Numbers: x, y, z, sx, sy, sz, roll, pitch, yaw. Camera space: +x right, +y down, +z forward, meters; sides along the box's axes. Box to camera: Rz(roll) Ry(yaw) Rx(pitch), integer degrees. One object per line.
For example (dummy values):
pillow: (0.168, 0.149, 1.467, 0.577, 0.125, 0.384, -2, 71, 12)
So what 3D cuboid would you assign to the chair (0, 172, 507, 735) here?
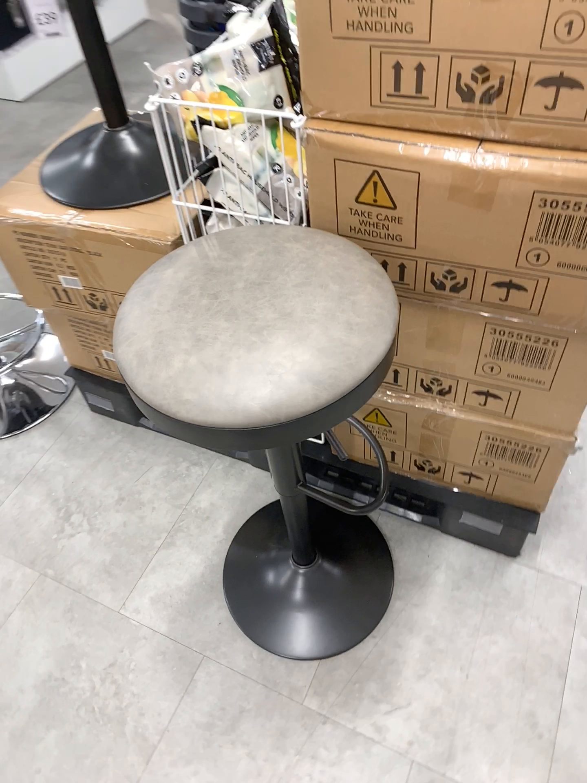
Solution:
chair: (-0.031, 0.138, 1.001, 0.459, 0.742, 0.434, 33, 60, 29)

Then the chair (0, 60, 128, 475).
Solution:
chair: (-0.830, -0.269, 1.395, 0.509, 0.722, 0.455, 19, 54, 21)
